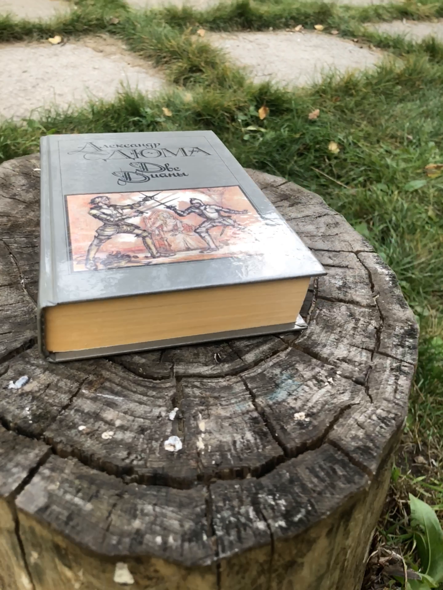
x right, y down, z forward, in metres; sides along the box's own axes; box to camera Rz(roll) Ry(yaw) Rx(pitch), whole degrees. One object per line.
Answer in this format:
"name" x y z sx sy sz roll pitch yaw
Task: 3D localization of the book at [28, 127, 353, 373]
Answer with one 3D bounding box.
"book" -0.037 -0.048 0.293 0.140 0.030 0.204 -7 38 -15
